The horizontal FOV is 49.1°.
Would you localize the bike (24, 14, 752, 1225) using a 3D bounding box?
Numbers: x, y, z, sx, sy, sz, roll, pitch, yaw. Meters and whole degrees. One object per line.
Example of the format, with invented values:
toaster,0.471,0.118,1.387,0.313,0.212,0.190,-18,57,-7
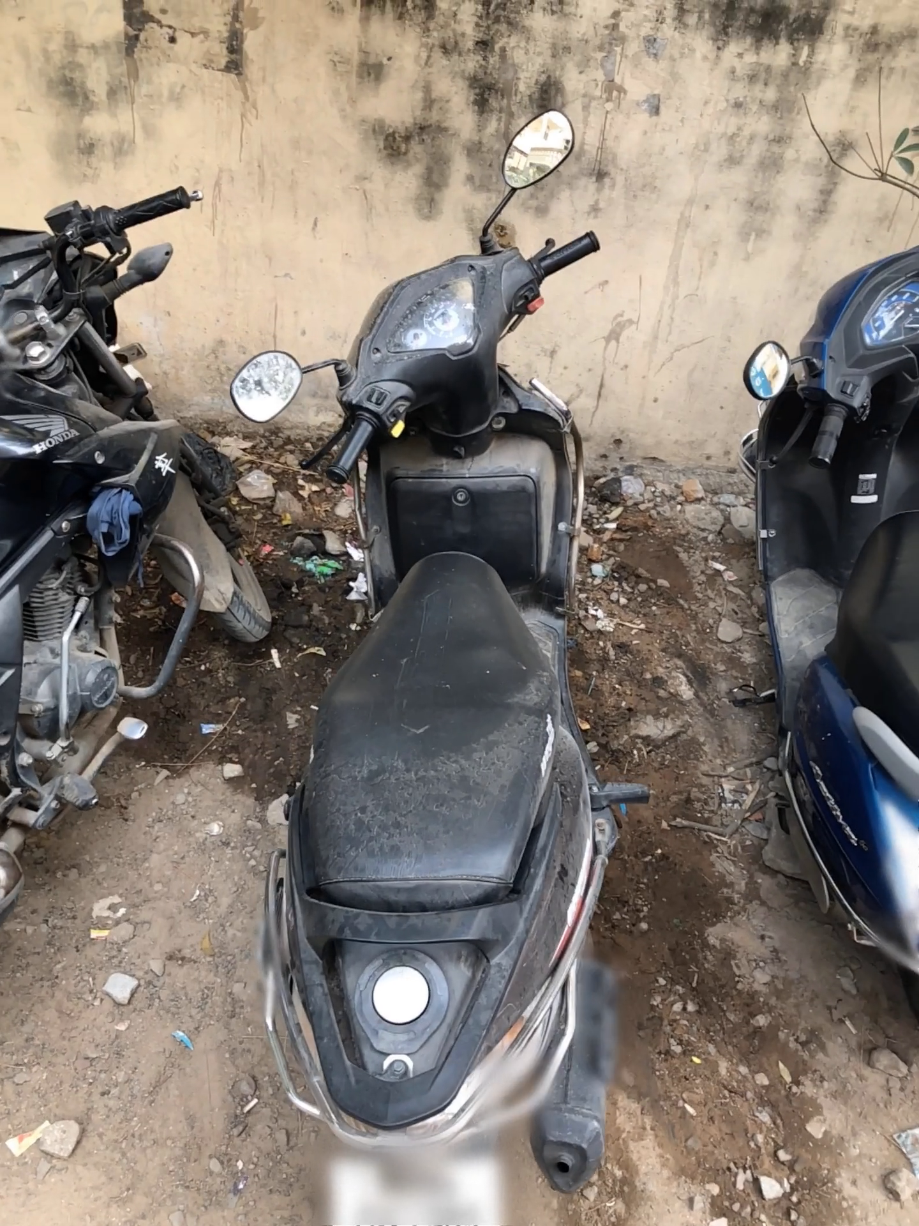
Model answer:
bike,-0.160,-0.074,1.617,0.527,1.113,1.568,2,41,-7
